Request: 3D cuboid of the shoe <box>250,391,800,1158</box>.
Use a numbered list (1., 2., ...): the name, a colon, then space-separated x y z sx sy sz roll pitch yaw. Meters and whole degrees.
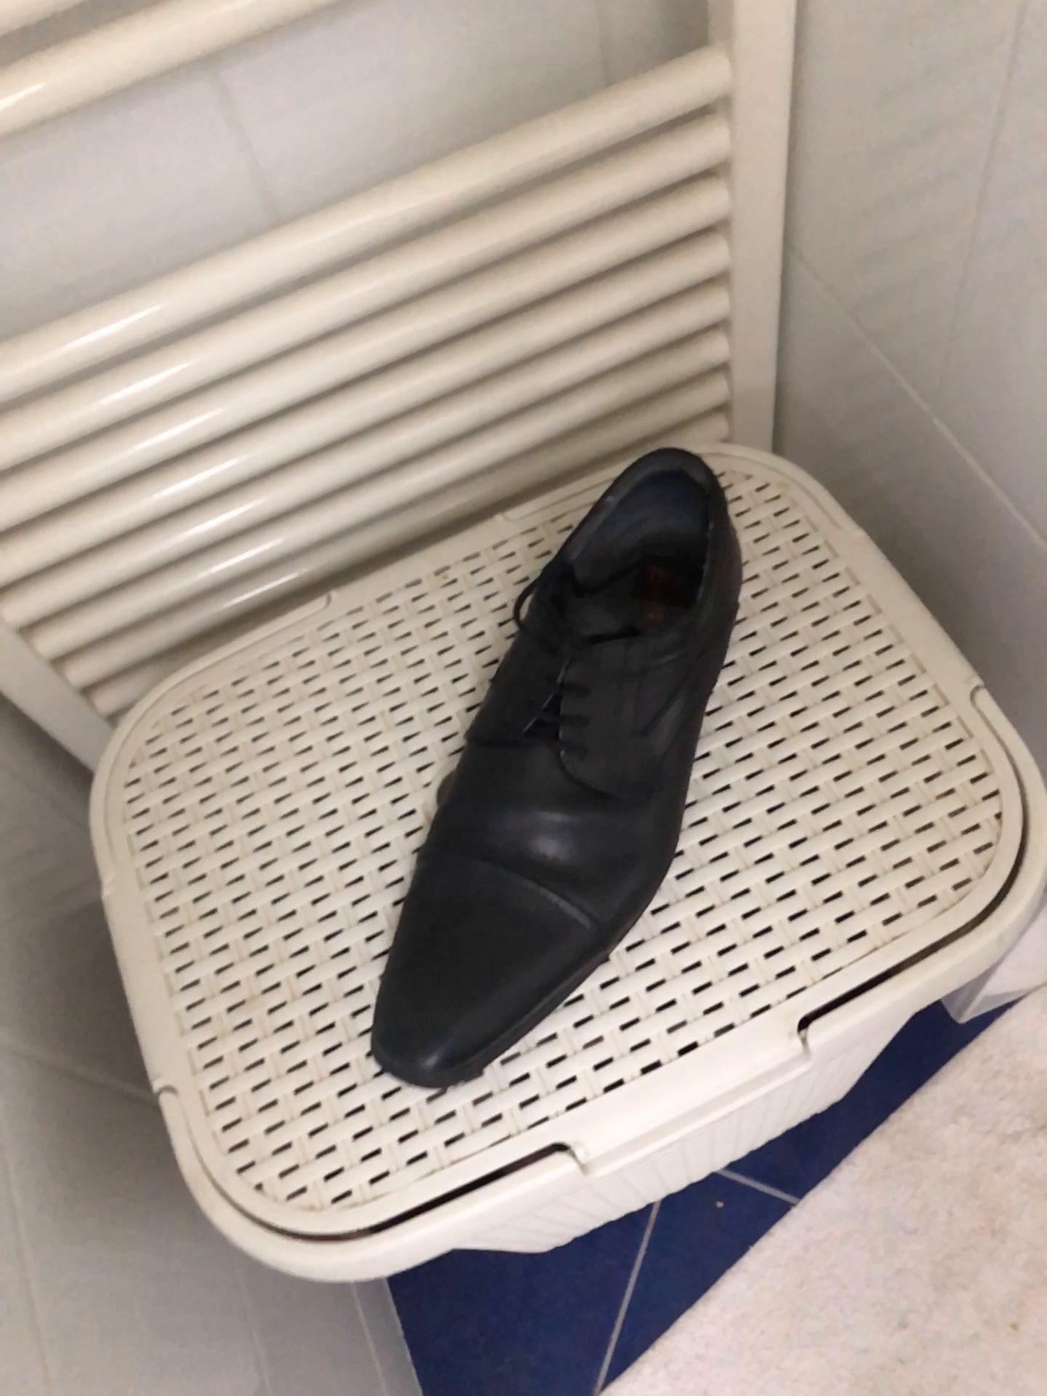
1. shoe: 0.018 0.023 0.515 0.110 0.100 0.311 18 66 18
